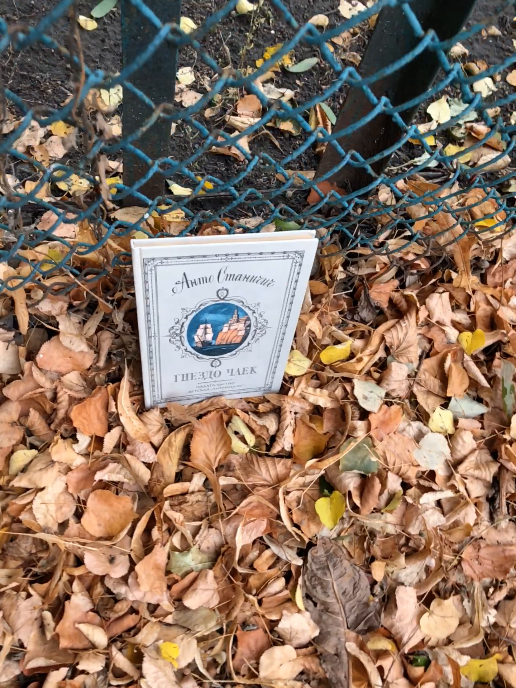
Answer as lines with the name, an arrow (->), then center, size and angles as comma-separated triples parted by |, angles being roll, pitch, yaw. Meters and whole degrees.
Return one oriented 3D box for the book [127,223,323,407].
book -> -0.031, -0.013, 0.455 | 0.128, 0.200, 0.016 | -5, 55, -11
